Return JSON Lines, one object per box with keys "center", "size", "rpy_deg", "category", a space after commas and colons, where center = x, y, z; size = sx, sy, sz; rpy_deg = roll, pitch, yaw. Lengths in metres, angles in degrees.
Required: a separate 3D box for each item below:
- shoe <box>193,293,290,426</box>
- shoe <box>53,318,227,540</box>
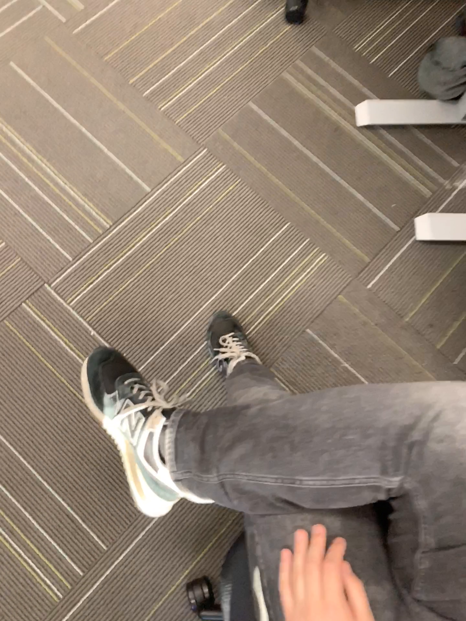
{"center": [0.014, 0.128, 1.209], "size": [0.115, 0.133, 0.304], "rpy_deg": [-24, 79, -9], "category": "shoe"}
{"center": [-0.153, 0.181, 0.766], "size": [0.133, 0.115, 0.304], "rpy_deg": [-31, 77, 26], "category": "shoe"}
